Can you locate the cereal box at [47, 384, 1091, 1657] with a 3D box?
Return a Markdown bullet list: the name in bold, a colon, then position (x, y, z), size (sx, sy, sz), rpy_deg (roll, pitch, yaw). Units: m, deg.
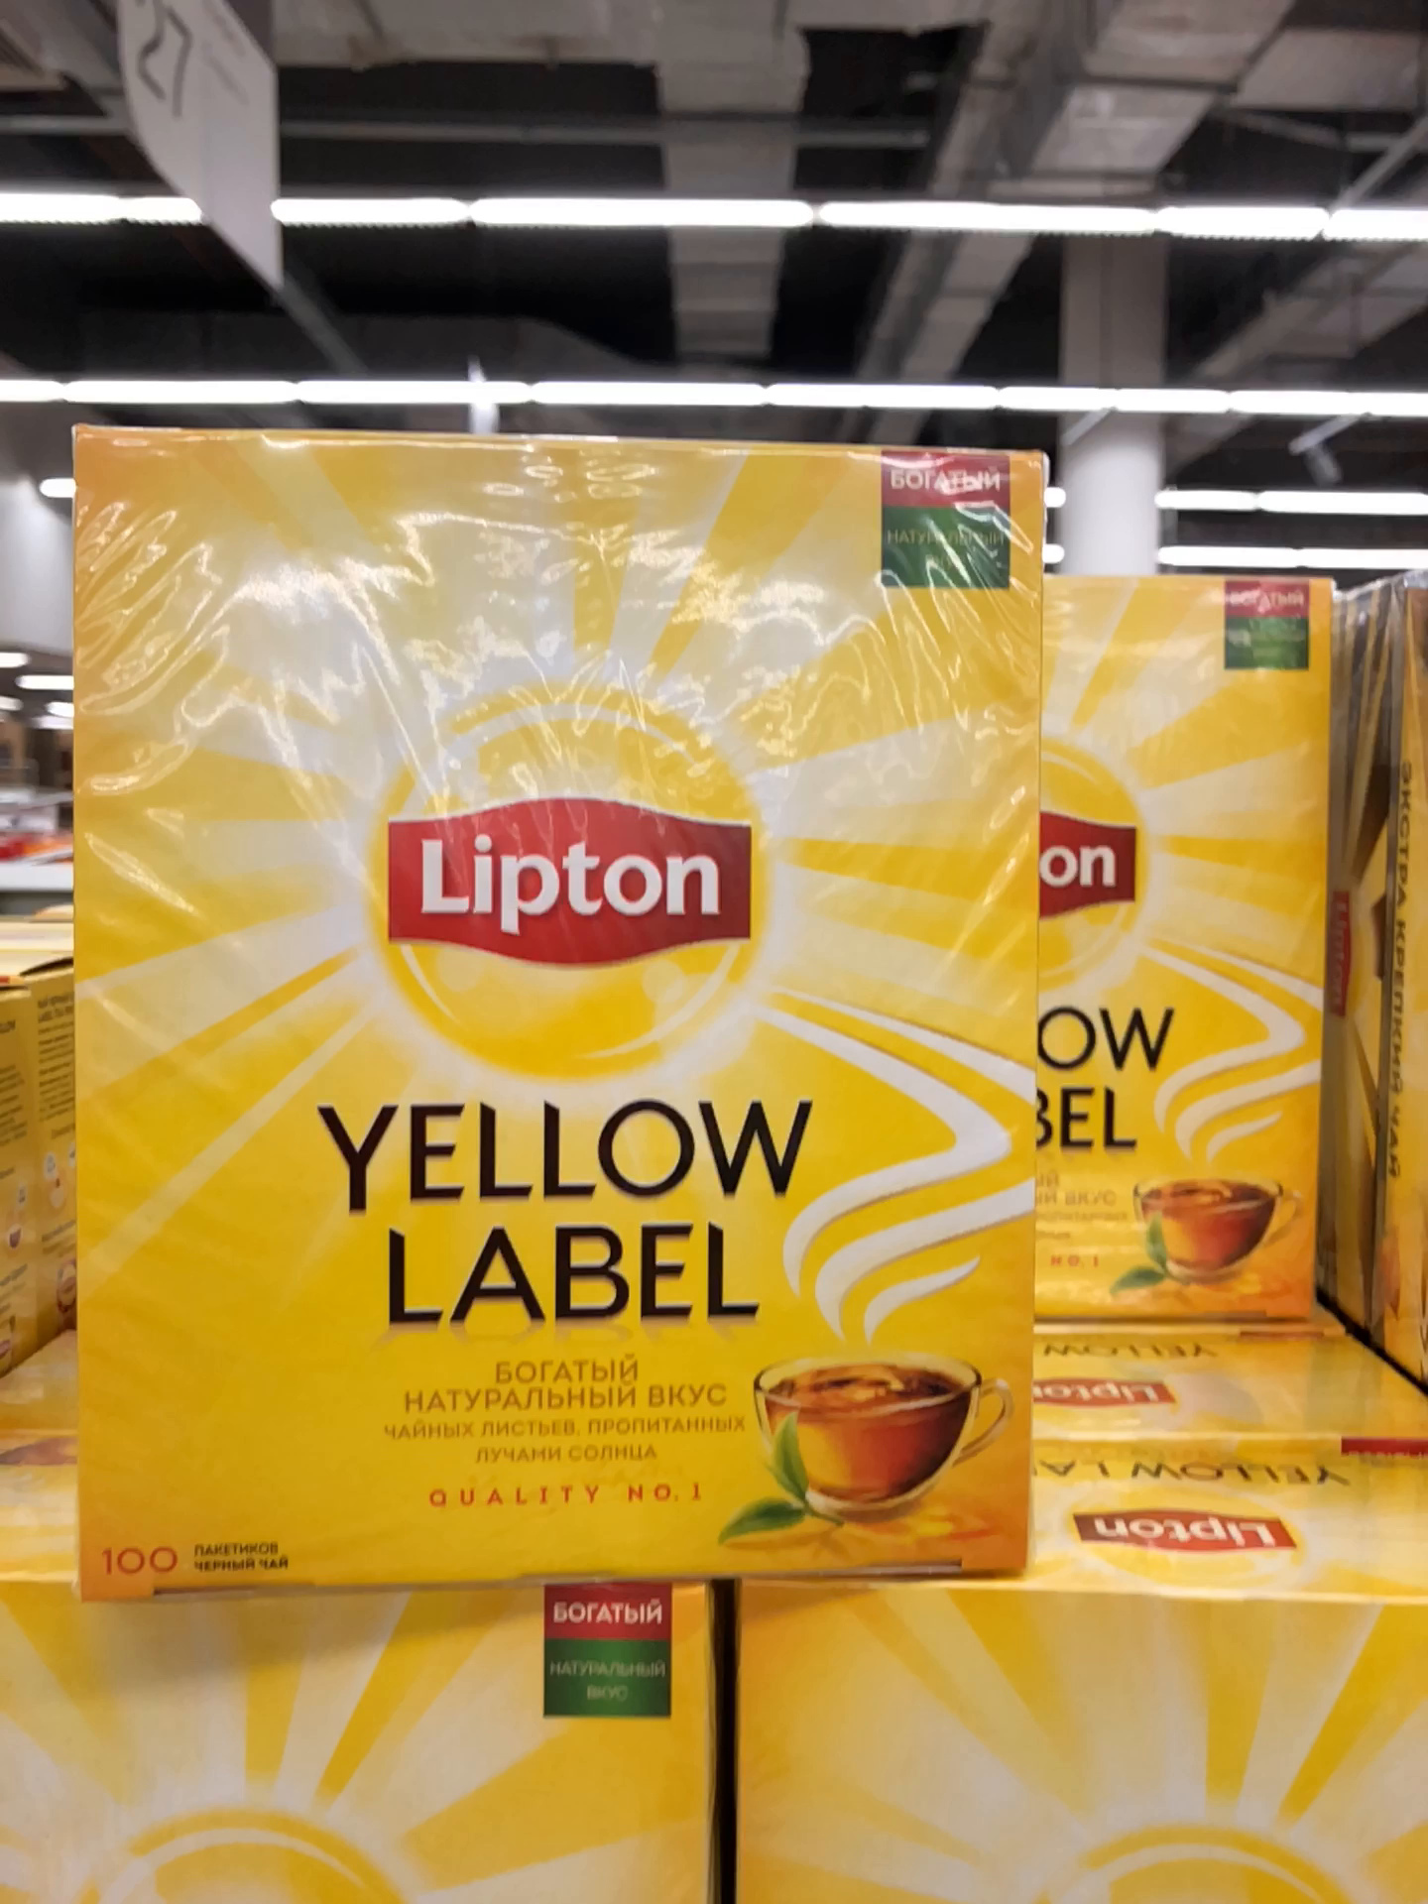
- **cereal box**: position (-0.021, 0.009, 0.252), size (0.140, 0.170, 0.070), rpy_deg (0, 2, -4)
